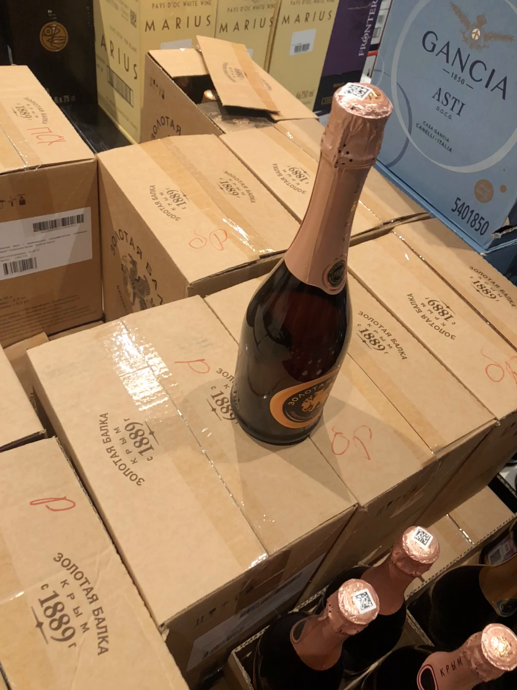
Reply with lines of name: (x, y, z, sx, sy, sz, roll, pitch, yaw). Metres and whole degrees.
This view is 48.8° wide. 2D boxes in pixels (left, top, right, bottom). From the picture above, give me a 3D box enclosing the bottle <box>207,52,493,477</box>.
bottle: (0.041, -0.035, 0.427, 0.100, 0.308, 0.090, -24, 58, -29)
